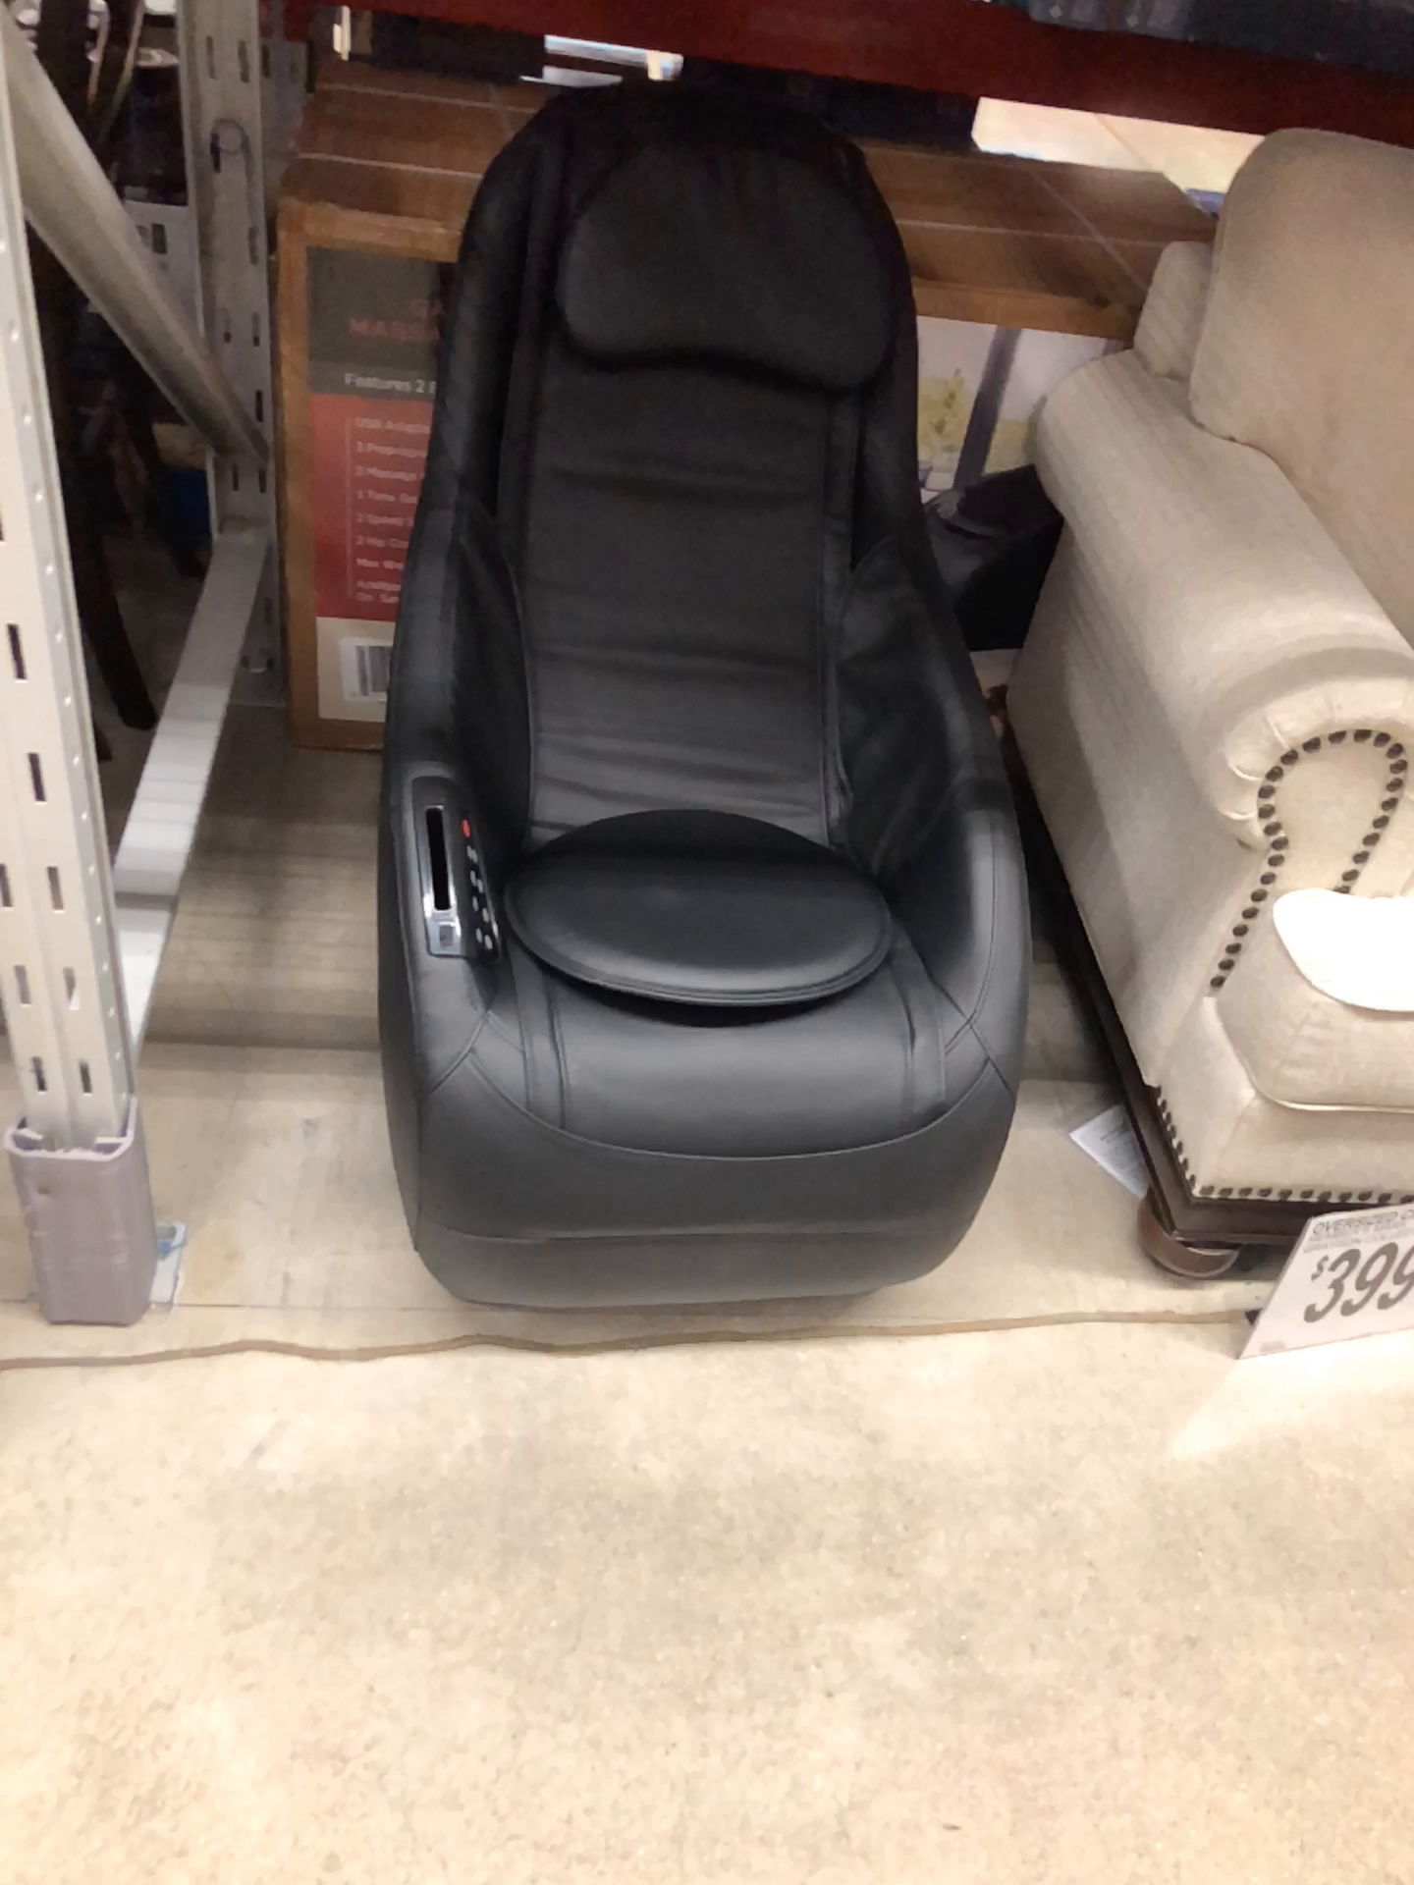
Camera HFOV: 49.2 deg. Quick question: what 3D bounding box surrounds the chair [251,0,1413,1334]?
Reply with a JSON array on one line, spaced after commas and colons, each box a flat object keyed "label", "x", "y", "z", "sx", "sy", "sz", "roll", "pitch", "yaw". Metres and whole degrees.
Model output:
[{"label": "chair", "x": -0.018, "y": -0.231, "z": 1.325, "sx": 0.650, "sy": 0.848, "sz": 0.702, "roll": 0, "pitch": 41, "yaw": -13}]
